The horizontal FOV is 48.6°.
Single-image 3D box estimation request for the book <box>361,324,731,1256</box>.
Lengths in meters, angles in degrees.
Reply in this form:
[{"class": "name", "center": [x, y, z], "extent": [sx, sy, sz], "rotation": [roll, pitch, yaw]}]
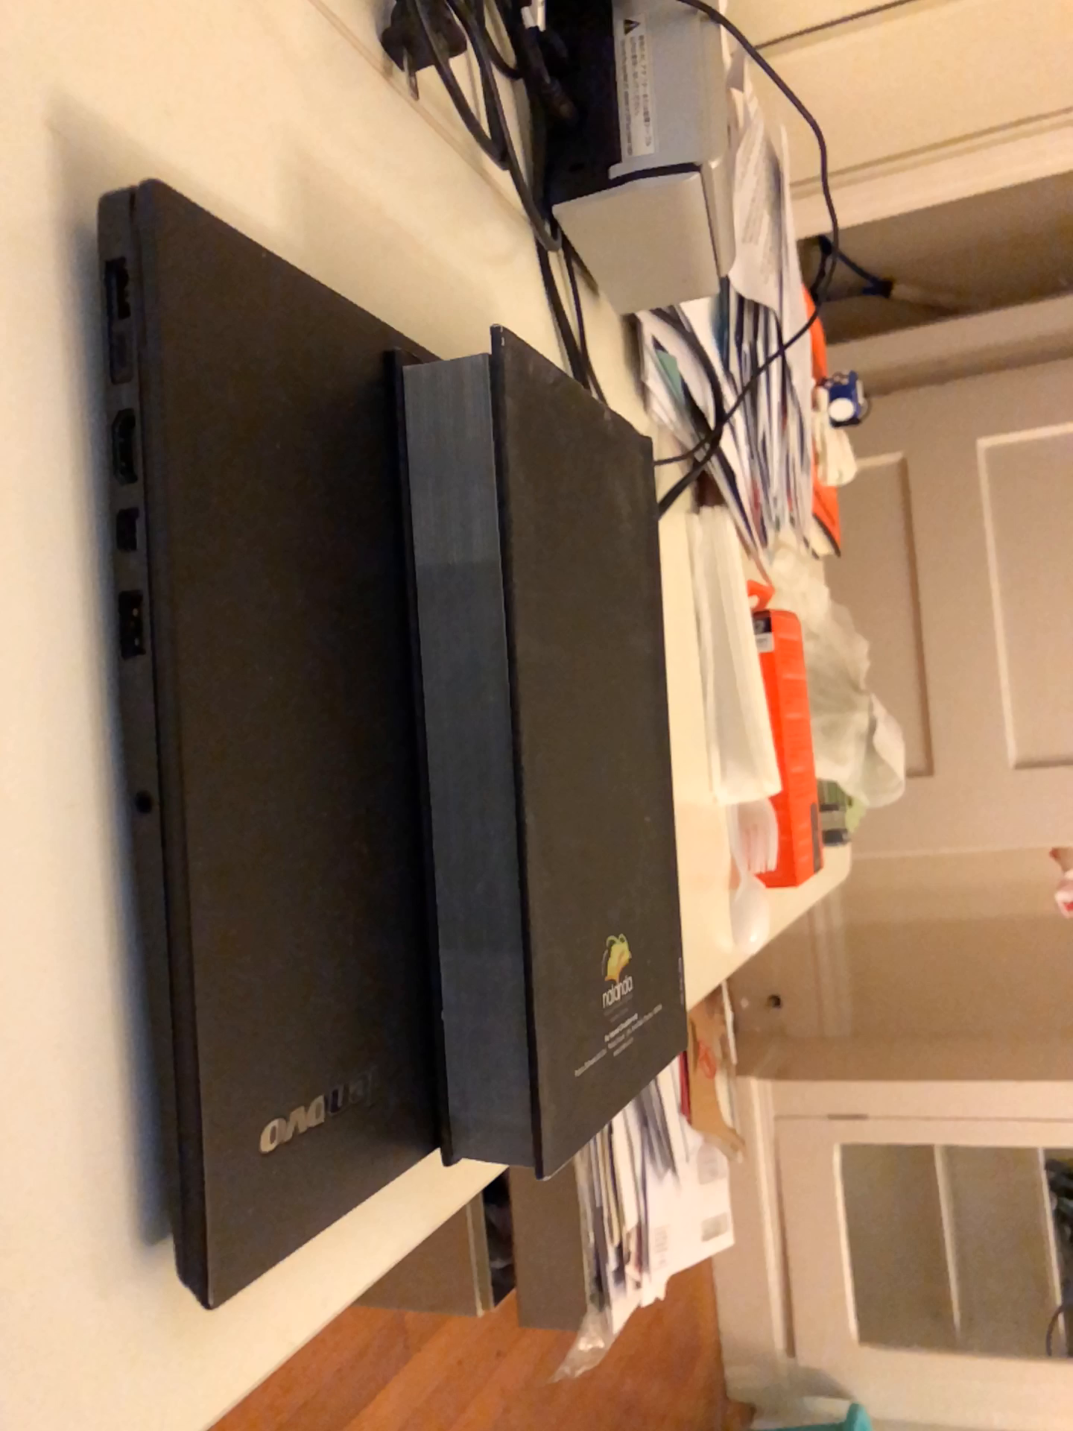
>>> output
[{"class": "book", "center": [0.012, 0.019, 0.369], "extent": [0.151, 0.040, 0.230], "rotation": [1, 83, -68]}]
